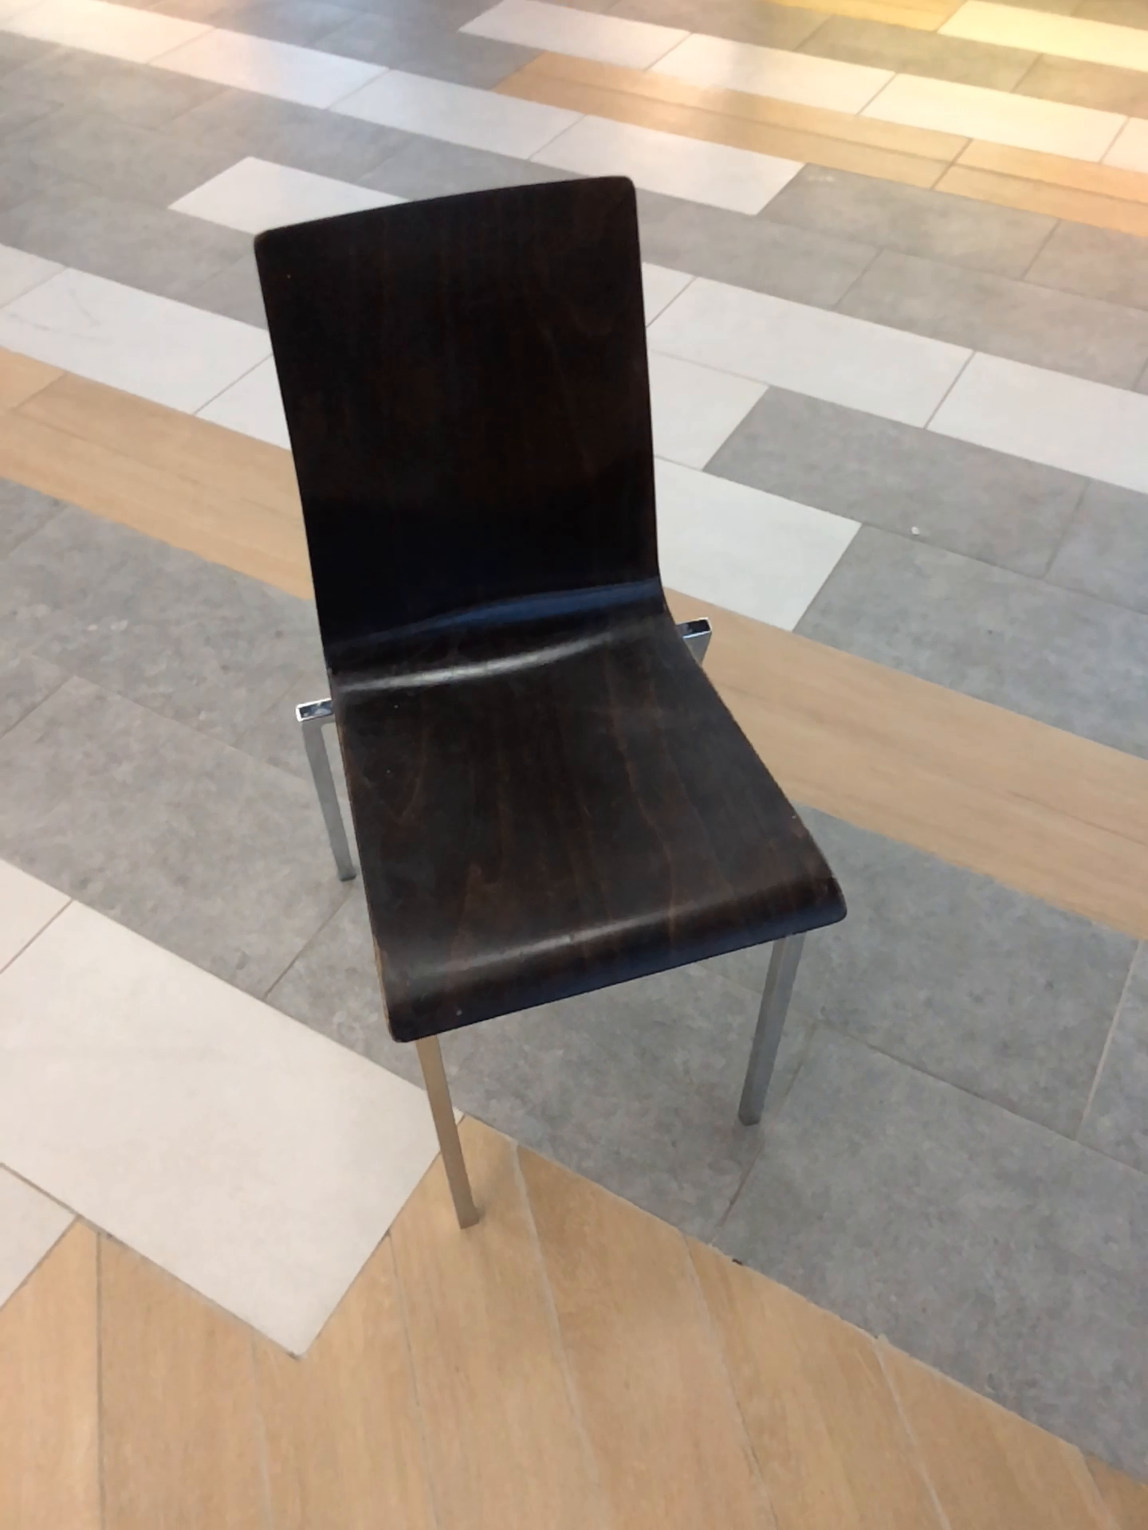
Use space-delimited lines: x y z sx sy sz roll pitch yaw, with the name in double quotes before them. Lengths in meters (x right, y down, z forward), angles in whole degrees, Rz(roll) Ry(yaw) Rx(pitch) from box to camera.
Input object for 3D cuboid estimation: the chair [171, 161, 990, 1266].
"chair" -0.033 -0.002 1.198 0.434 0.847 0.544 -13 50 -11
